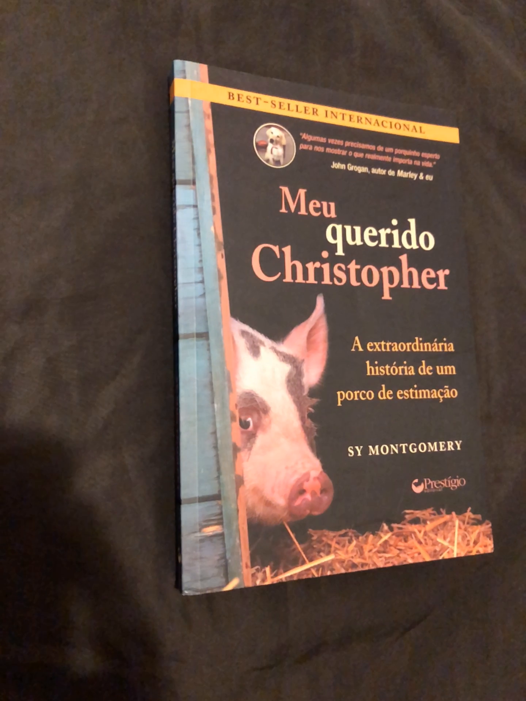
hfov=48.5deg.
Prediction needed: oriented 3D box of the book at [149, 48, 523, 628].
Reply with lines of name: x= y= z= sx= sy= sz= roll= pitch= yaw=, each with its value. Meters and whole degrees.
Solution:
book: x=0.039 y=-0.009 z=0.264 sx=0.170 sy=0.020 sz=0.220 roll=-1 pitch=85 yaw=-24
